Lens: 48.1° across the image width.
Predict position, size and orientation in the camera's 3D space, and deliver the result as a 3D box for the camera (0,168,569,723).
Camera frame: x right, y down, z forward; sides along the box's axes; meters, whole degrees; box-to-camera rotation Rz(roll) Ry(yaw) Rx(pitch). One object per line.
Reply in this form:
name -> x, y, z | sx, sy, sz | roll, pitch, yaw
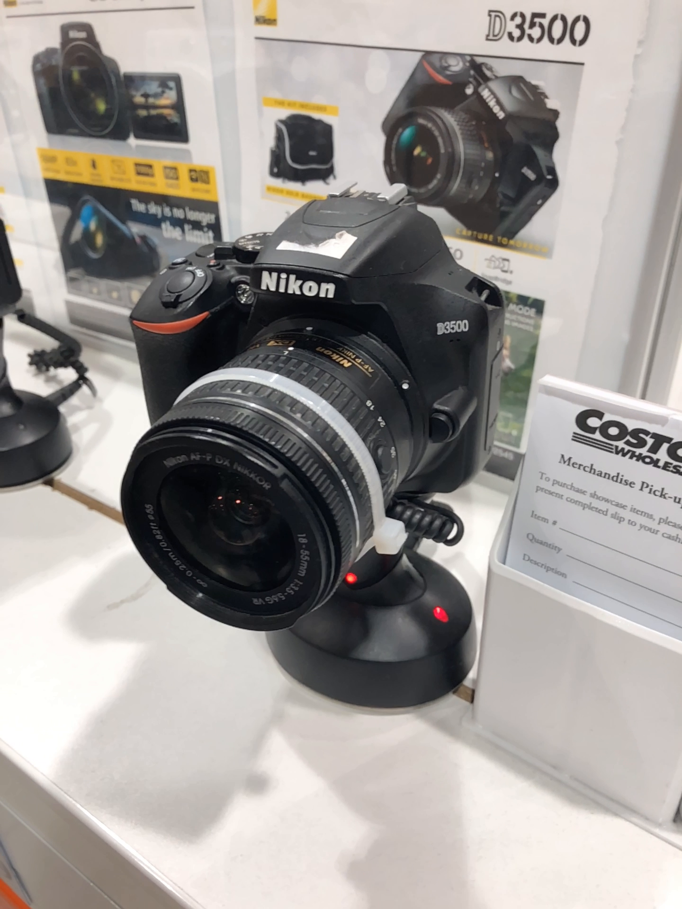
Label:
camera -> -0.017, -0.018, 0.231 | 0.140, 0.100, 0.120 | 10, 33, 18
